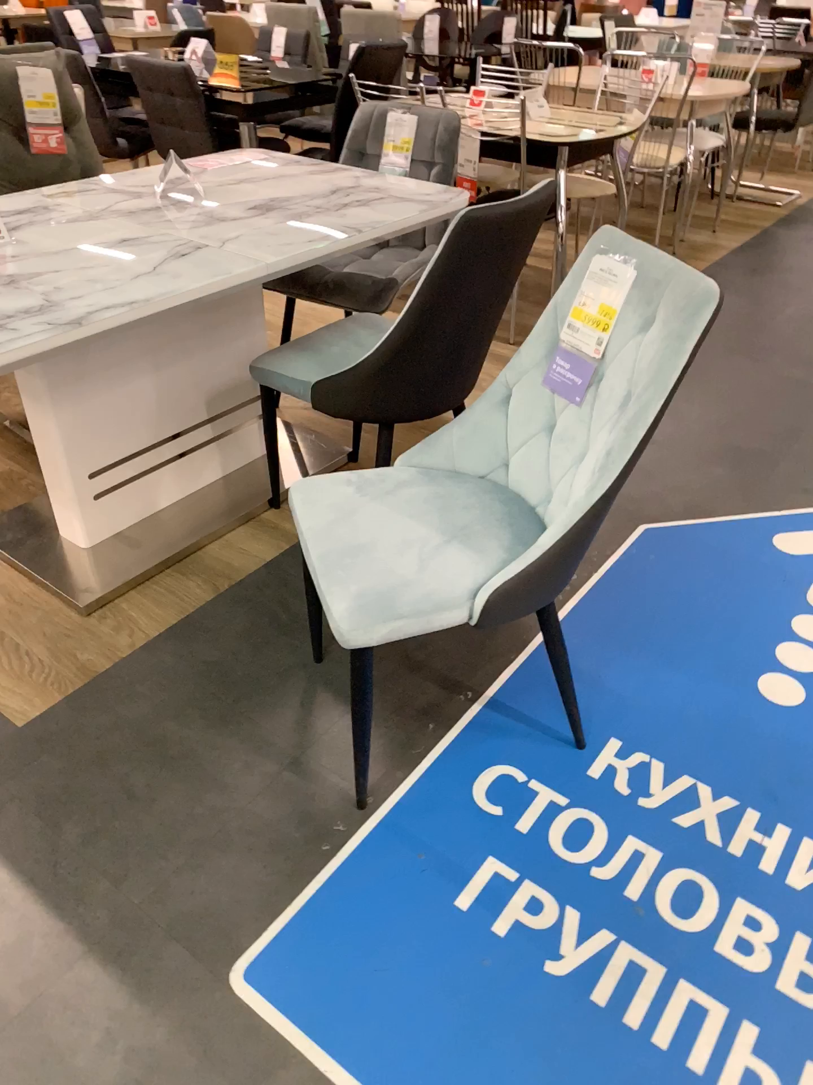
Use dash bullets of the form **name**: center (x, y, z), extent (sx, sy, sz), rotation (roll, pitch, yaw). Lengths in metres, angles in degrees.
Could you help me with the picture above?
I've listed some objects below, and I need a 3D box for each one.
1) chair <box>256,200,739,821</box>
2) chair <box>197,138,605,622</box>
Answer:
- **chair**: center (0.088, -0.055, 1.436), extent (0.550, 0.885, 0.472), rotation (-9, 37, -15)
- **chair**: center (-0.015, -0.426, 2.028), extent (0.666, 0.880, 0.571), rotation (25, 41, 29)
